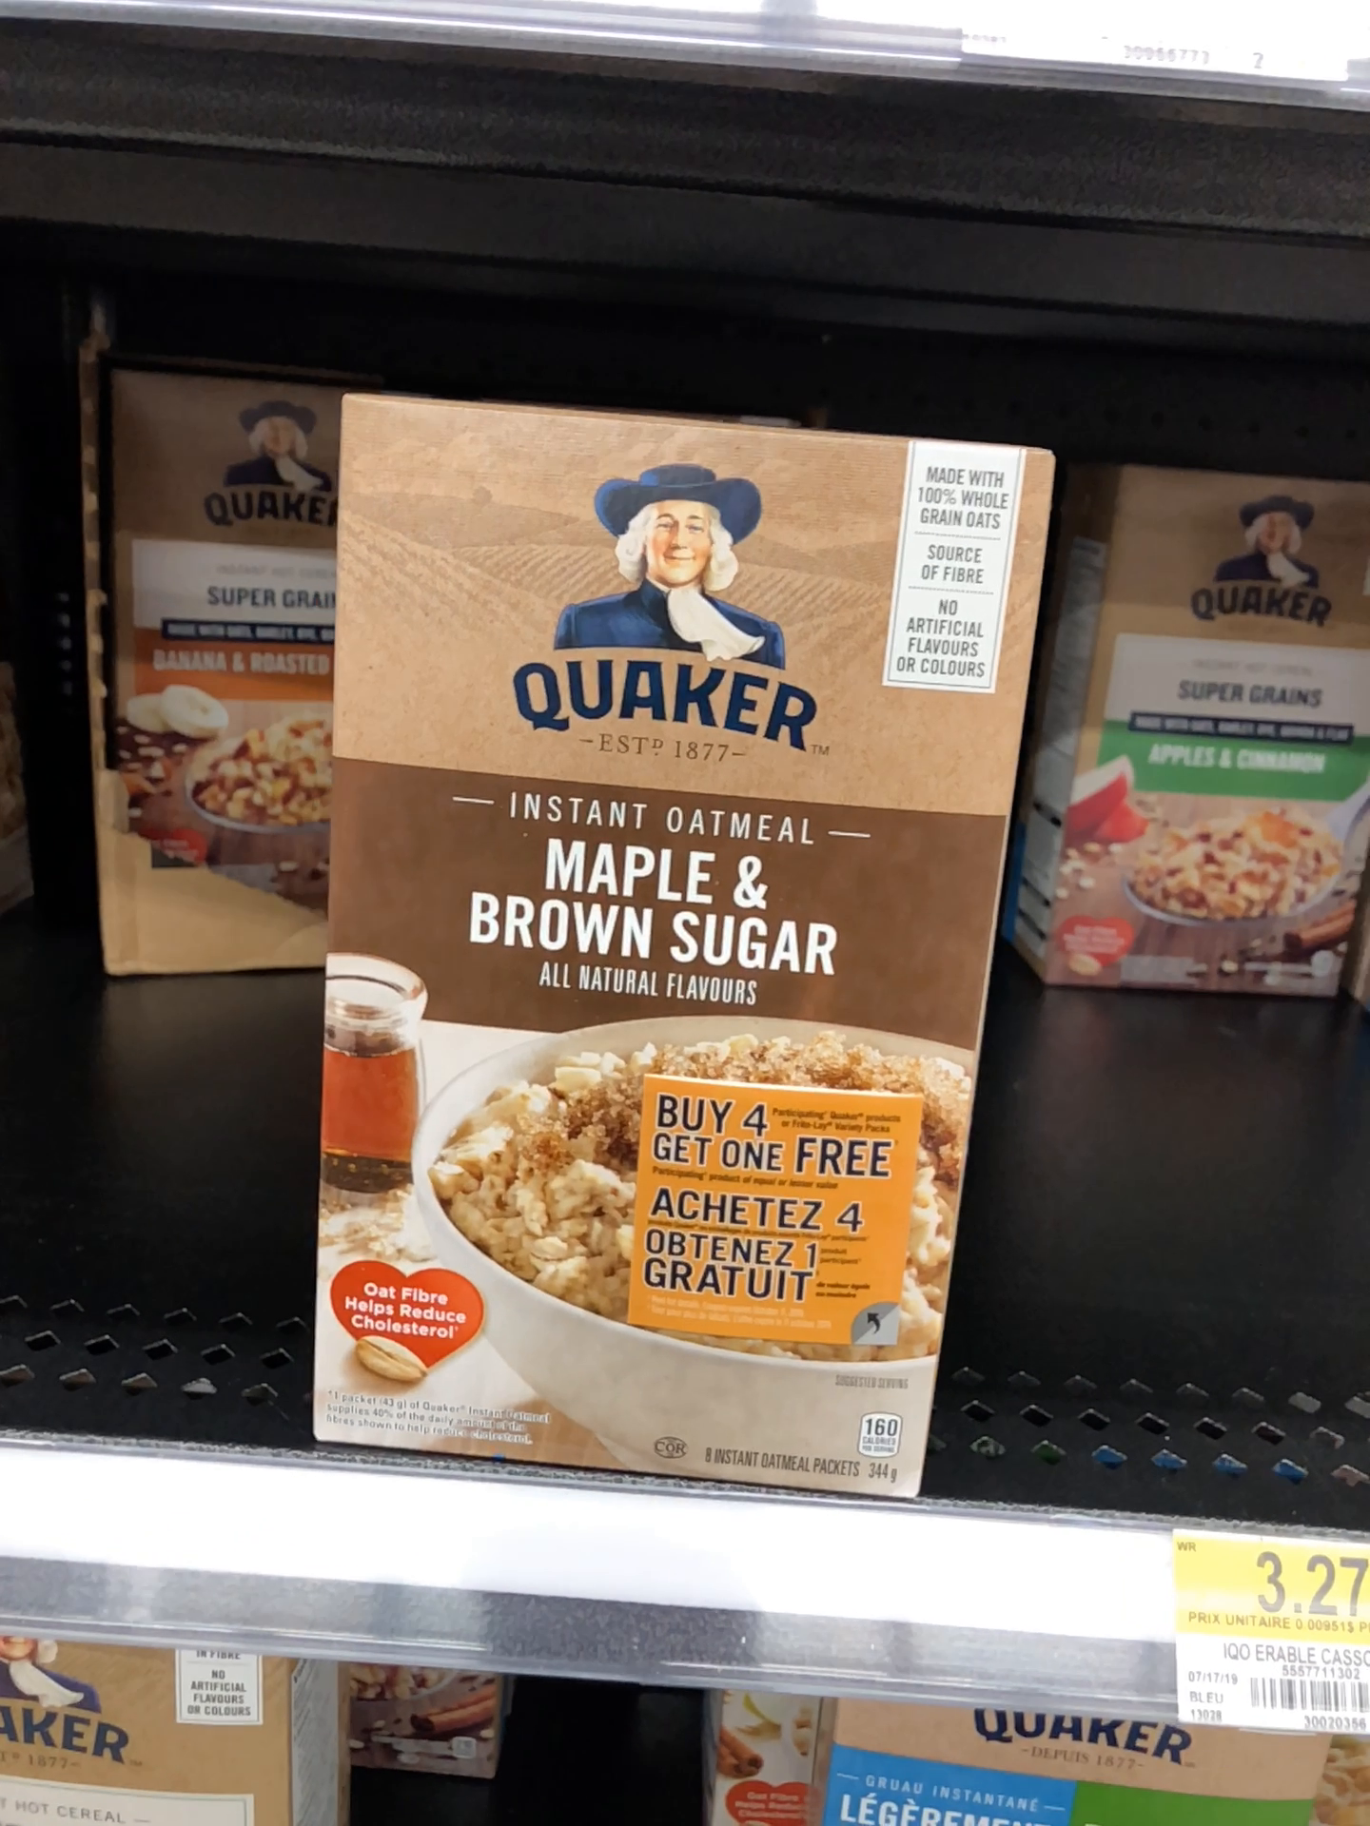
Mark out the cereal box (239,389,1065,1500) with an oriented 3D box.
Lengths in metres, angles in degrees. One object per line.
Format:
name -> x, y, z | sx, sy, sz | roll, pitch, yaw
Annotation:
cereal box -> -0.011, 0.005, 0.292 | 0.130, 0.189, 0.060 | 5, 15, 2

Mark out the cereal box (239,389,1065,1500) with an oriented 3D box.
cereal box -> -0.011, 0.005, 0.292 | 0.130, 0.189, 0.060 | 5, 15, 2
